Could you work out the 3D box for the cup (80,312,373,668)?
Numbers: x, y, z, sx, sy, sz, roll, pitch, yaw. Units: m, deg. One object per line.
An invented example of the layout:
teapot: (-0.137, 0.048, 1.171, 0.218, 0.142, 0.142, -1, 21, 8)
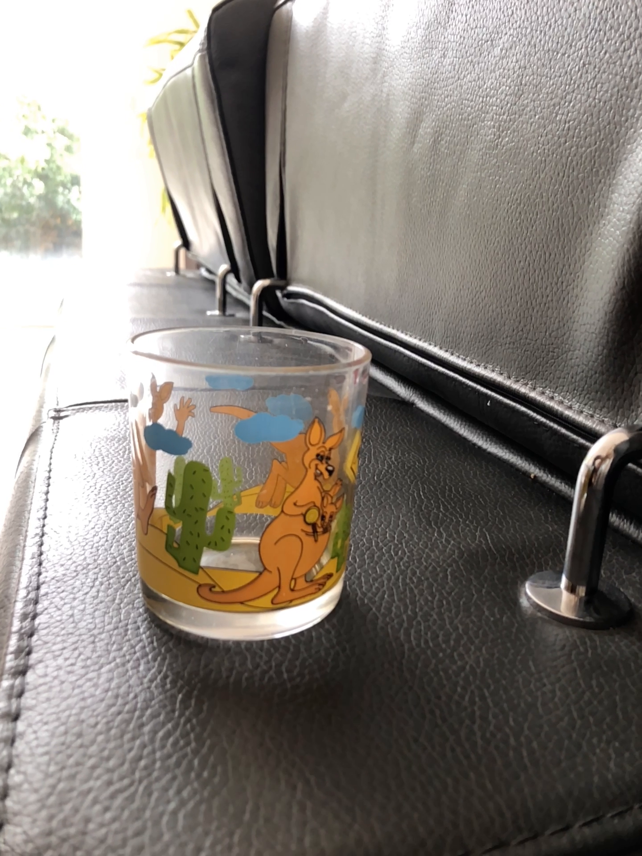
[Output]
cup: (-0.022, 0.012, 0.217, 0.070, 0.080, 0.080, 4, 16, 3)
